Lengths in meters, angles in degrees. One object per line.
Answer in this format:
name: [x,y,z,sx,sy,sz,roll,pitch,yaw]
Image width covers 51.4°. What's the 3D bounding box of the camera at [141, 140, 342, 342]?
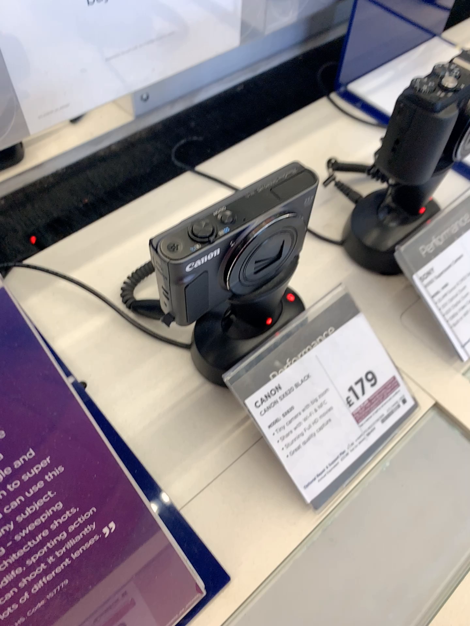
camera: [0.004,-0.035,0.240,0.090,0.060,0.030,-34,64,-22]
